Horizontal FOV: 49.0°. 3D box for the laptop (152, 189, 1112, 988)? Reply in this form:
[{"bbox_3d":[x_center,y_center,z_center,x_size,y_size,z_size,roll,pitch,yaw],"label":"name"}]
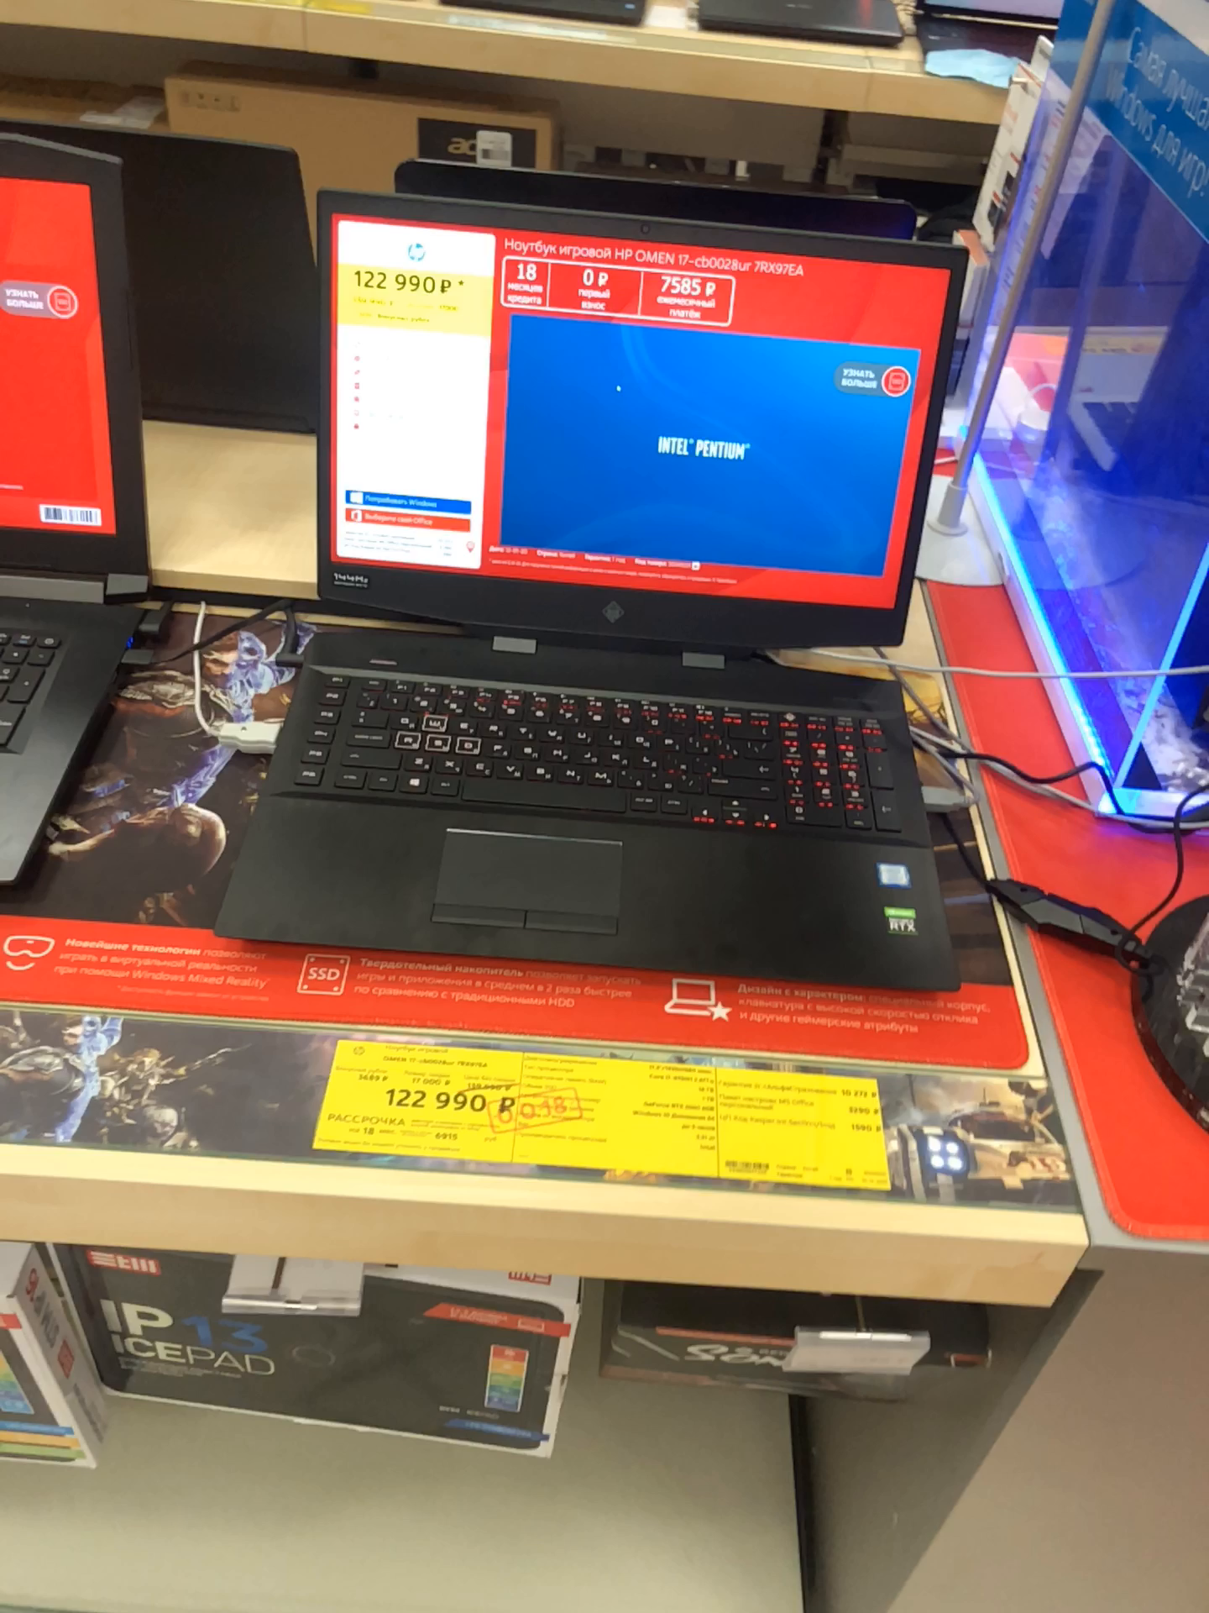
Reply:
[{"bbox_3d":[0.011,-0.141,0.756,0.391,0.246,0.377,4,43,-1],"label":"laptop"}]
